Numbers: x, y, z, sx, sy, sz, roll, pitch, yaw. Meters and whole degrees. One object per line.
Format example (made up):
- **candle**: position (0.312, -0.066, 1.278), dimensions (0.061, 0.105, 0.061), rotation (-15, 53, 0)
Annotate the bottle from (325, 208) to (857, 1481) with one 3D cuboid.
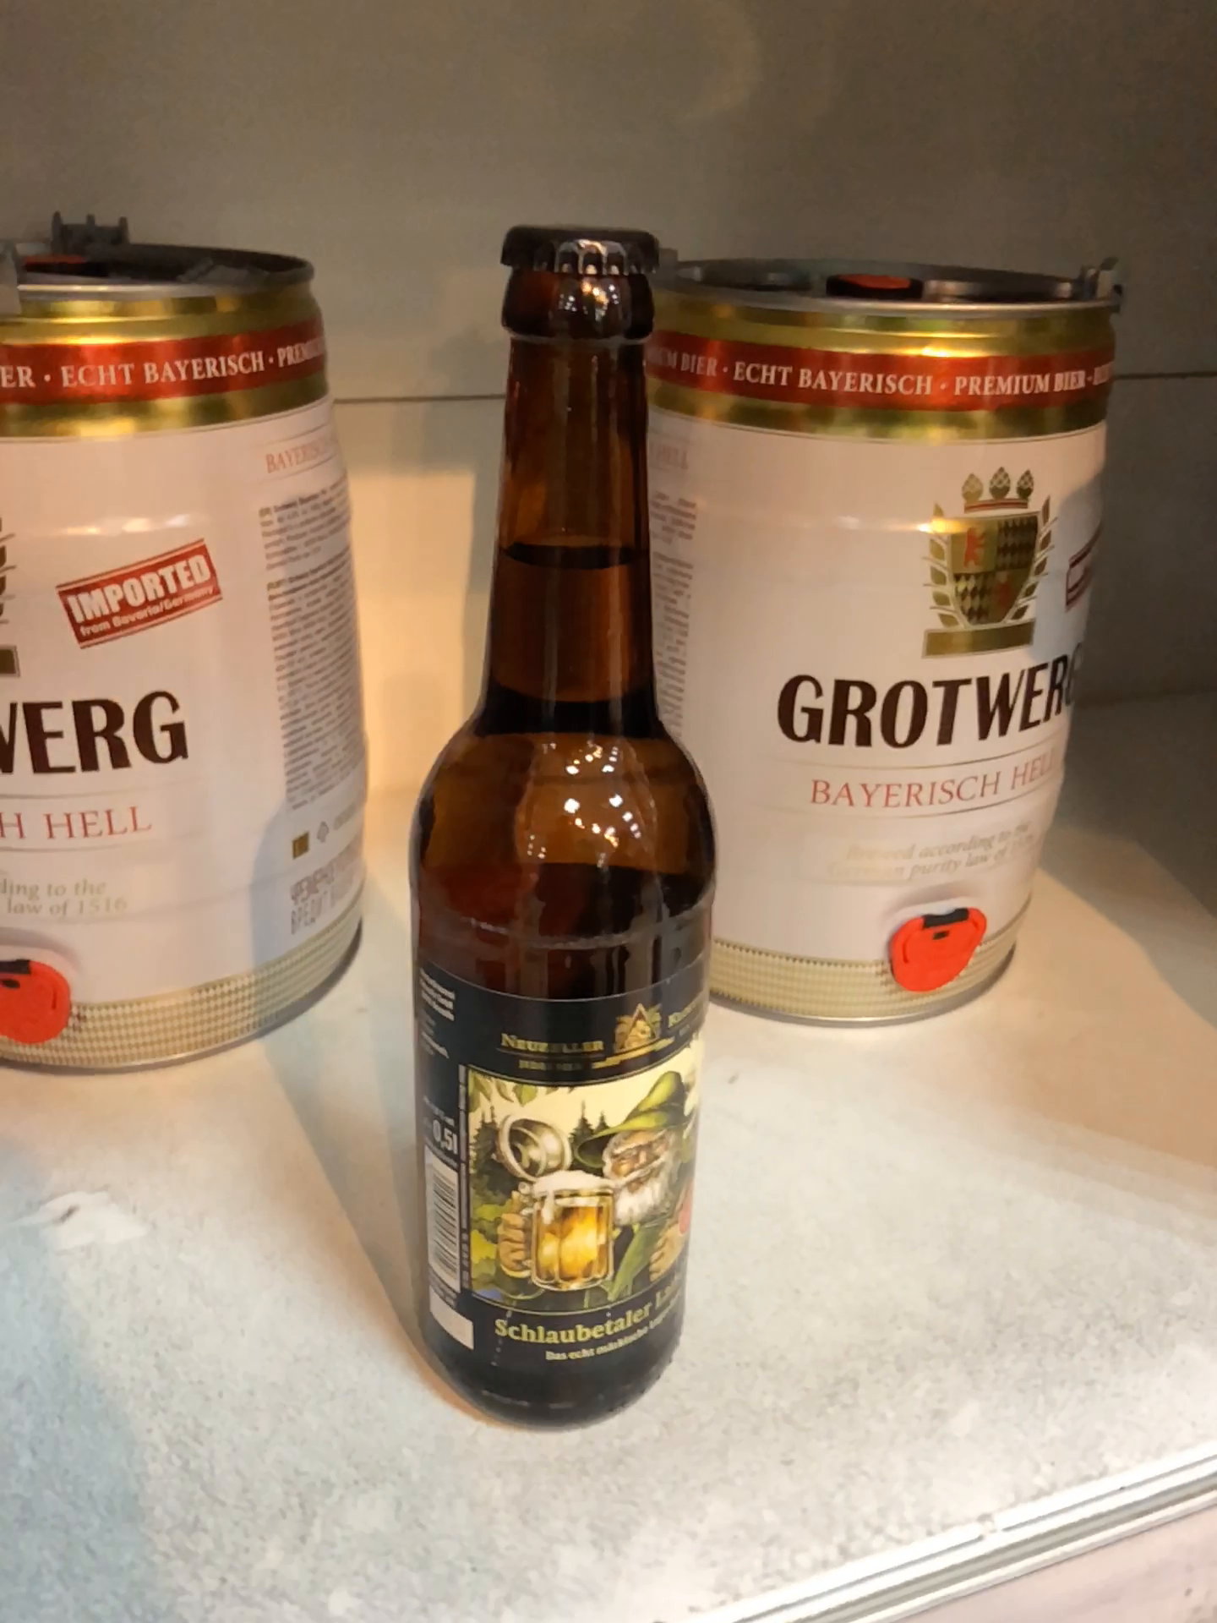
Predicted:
- **bottle**: position (-0.010, 0.016, 0.284), dimensions (0.071, 0.257, 0.064), rotation (-9, 28, -20)
